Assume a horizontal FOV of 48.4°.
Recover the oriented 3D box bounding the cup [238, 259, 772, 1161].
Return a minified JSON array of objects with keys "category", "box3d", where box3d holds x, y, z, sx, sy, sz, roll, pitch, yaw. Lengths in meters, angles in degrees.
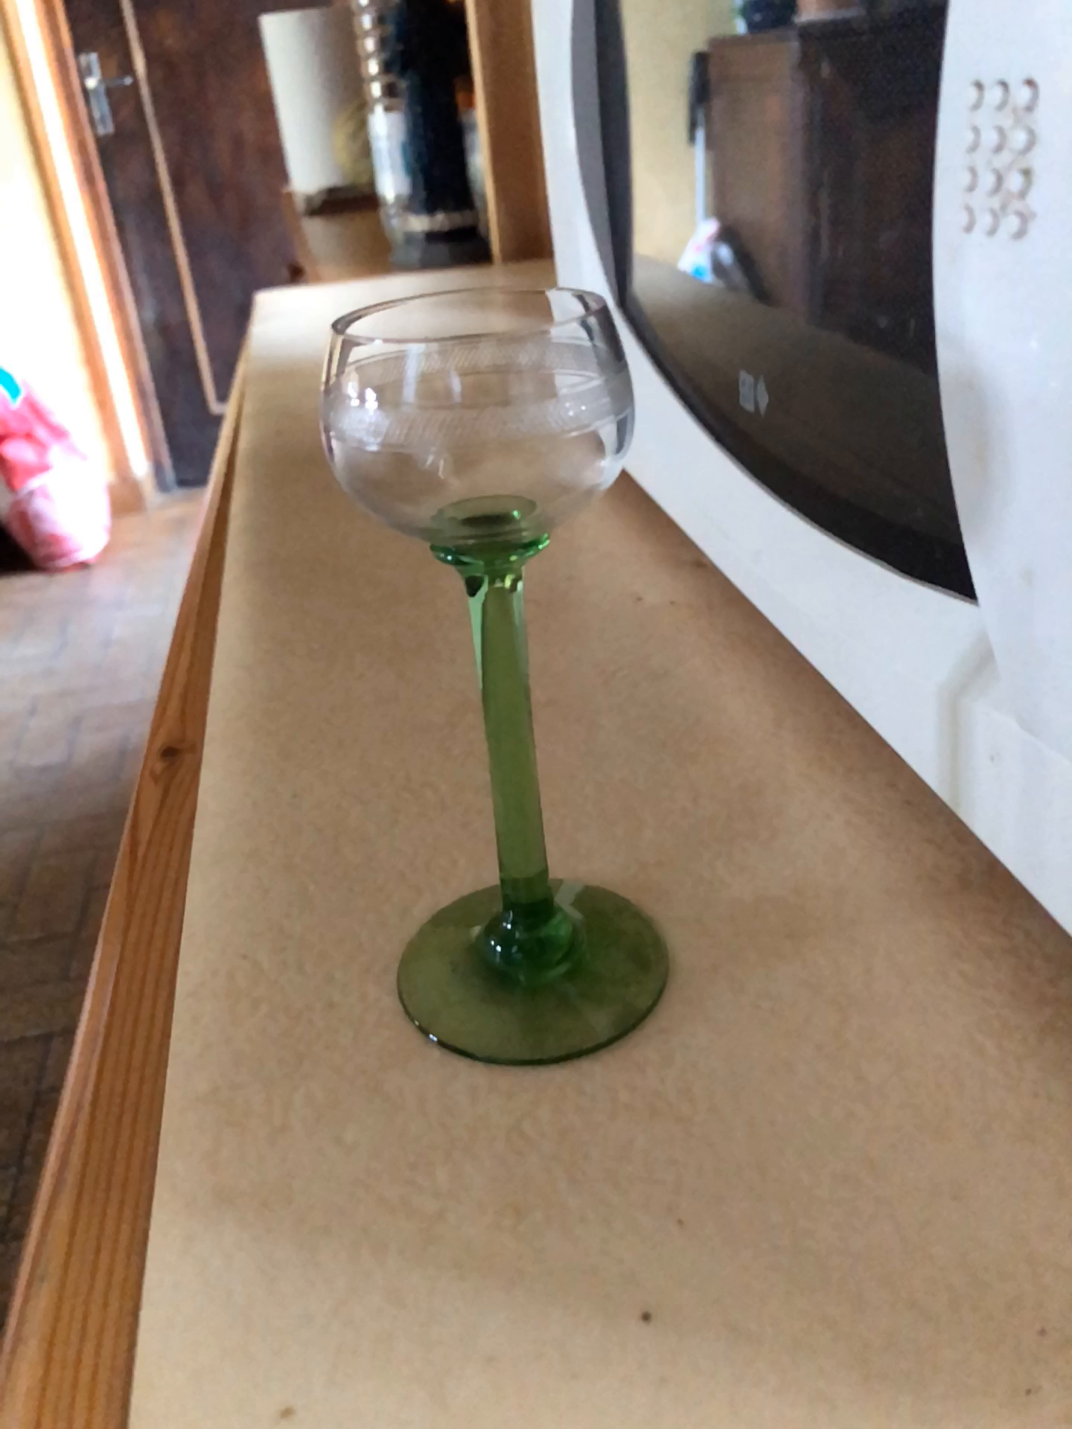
[{"category":"cup","box3d":[-0.002,-0.002,0.203,0.060,0.129,0.060,-5,28,2]}]
